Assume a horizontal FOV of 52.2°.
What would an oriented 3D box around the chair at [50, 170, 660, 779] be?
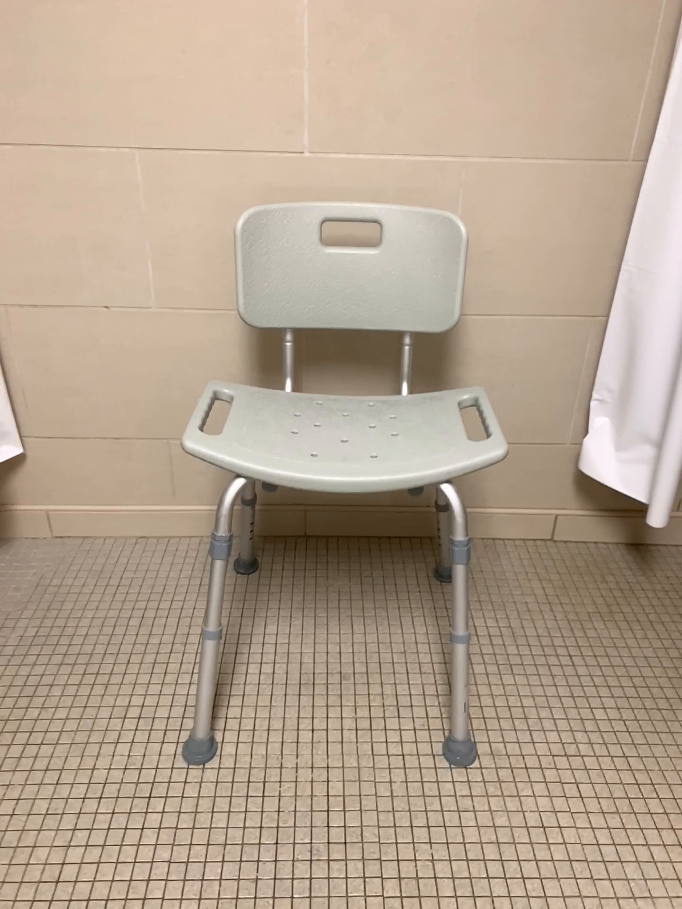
[{"bbox_3d":[0.016,0.020,1.045,0.549,0.745,0.524,0,32,0],"label":"chair"}]
